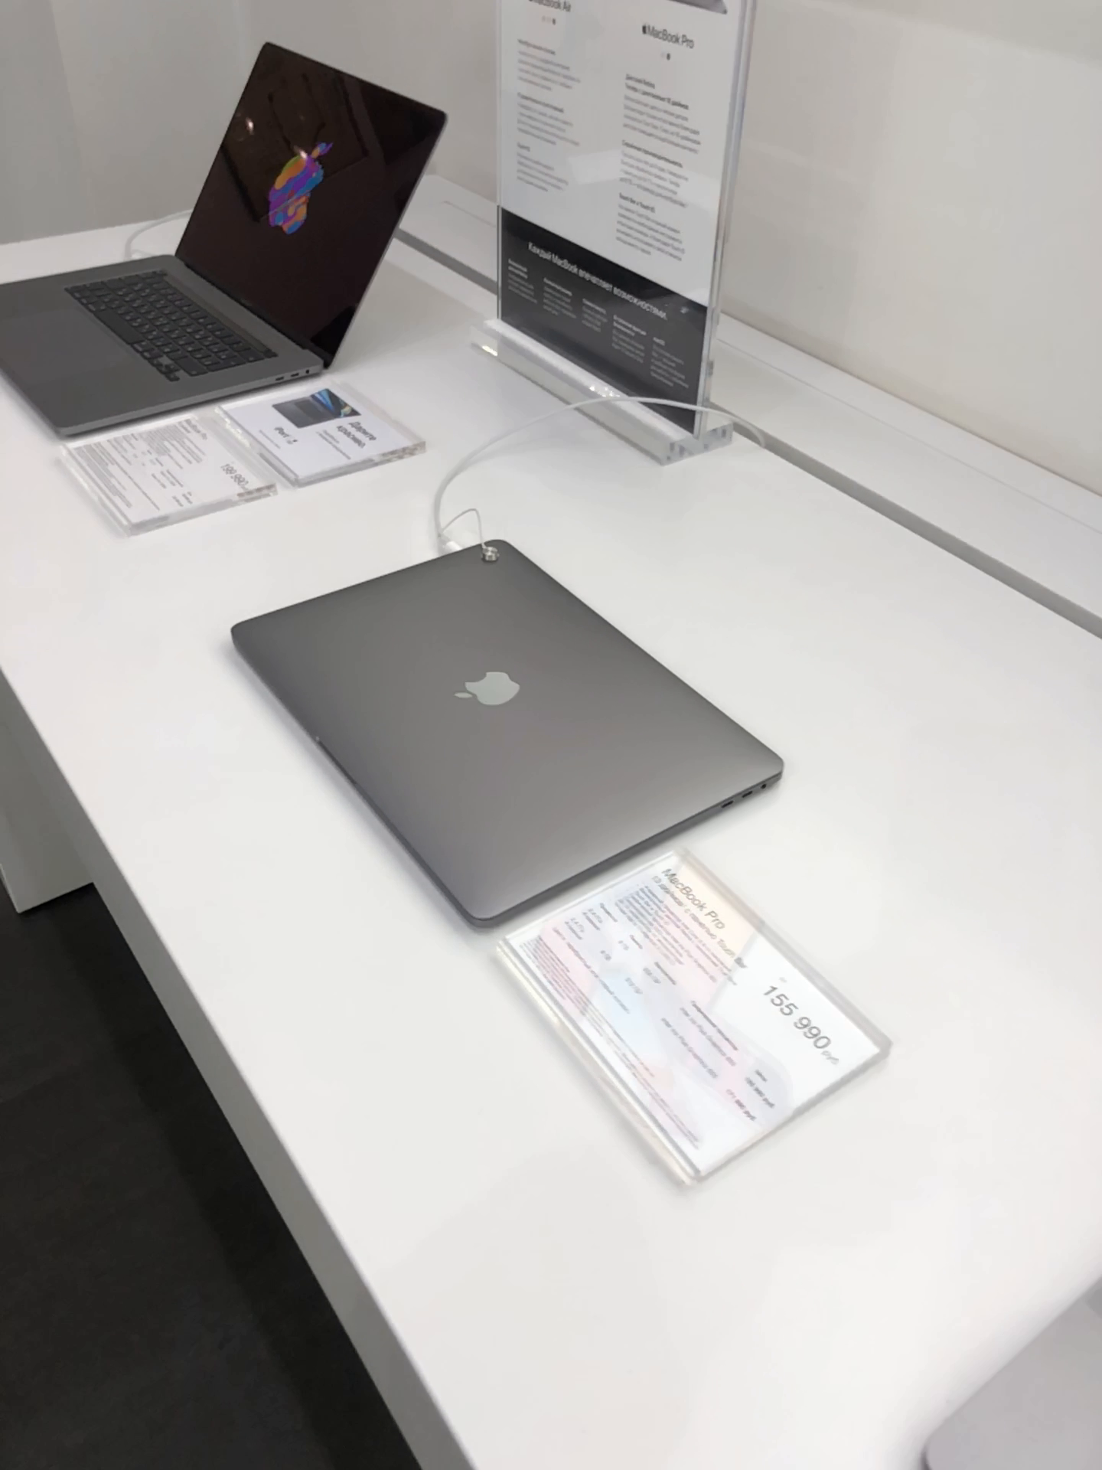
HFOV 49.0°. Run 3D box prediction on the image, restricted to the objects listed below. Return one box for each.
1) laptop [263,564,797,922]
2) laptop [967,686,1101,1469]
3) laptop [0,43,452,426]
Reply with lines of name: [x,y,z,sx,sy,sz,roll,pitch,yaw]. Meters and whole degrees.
laptop: [-0.023,-0.015,0.726,0.202,0.001,0.280,-22,43,-26]
laptop: [0.337,0.198,0.319,0.277,0.187,0.310,-27,48,-28]
laptop: [-0.348,-0.490,1.132,0.380,0.190,0.349,-24,46,-27]
